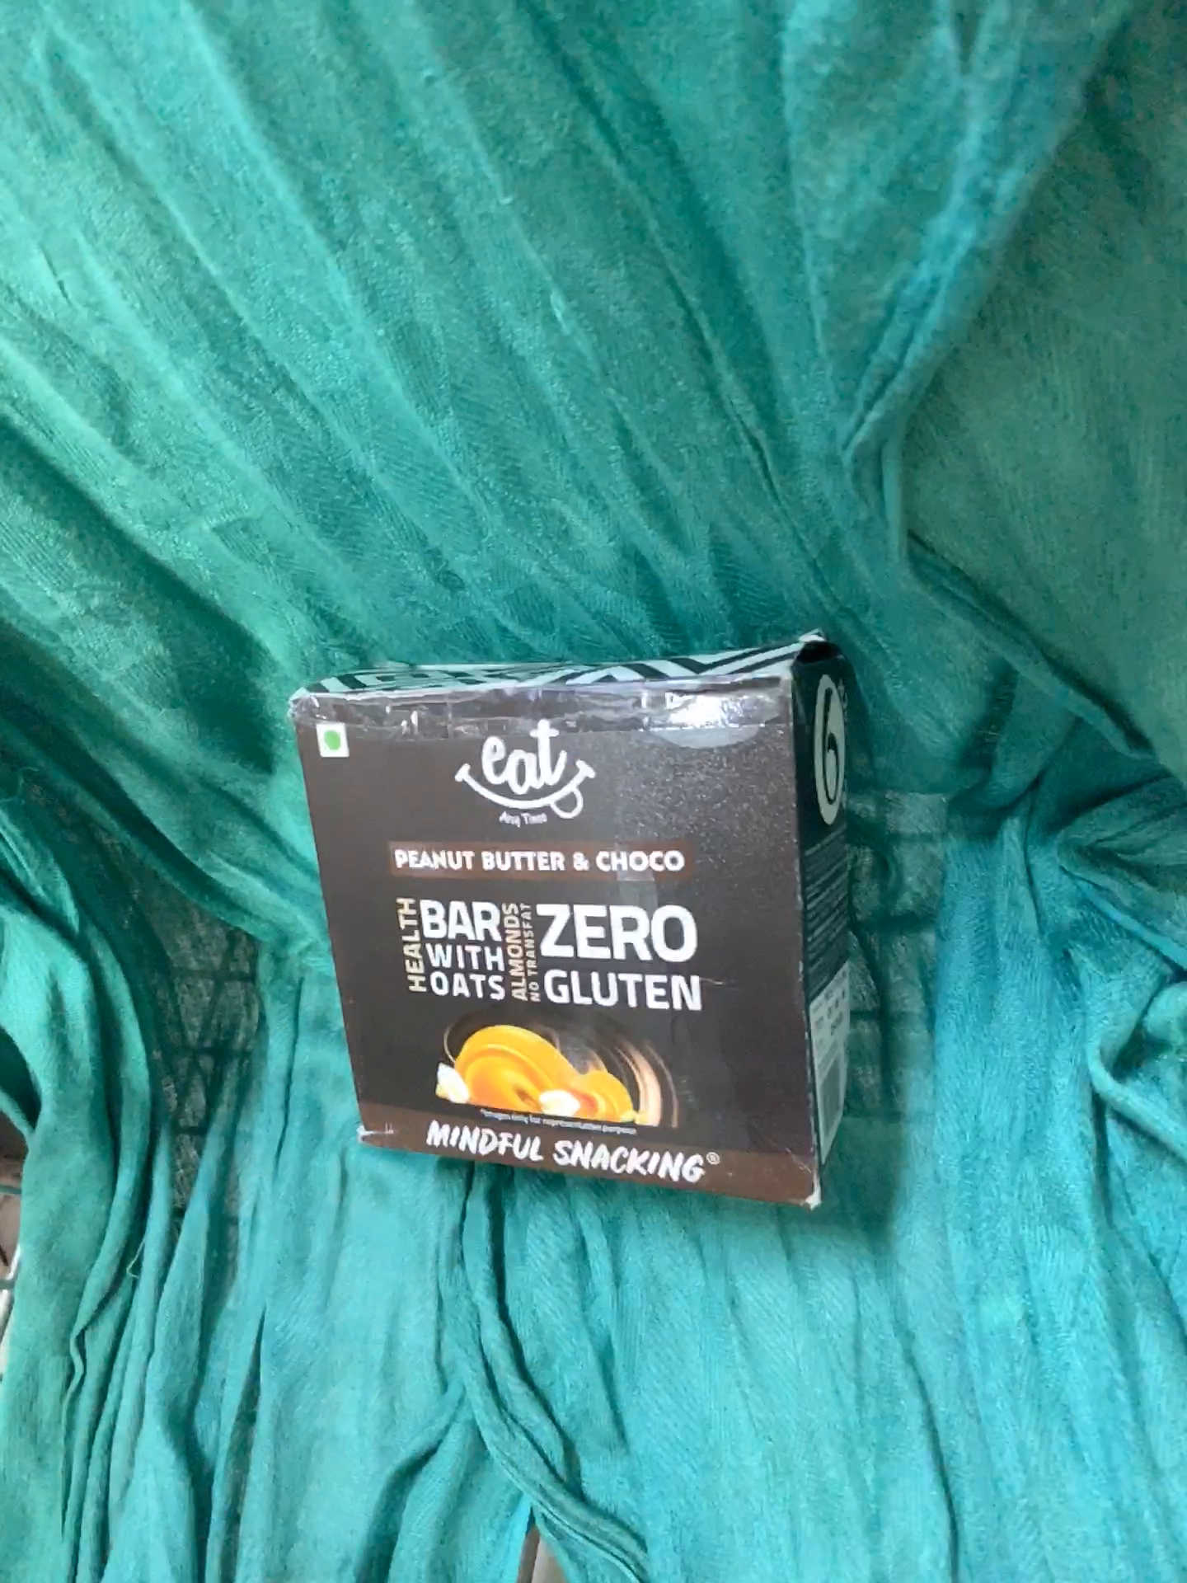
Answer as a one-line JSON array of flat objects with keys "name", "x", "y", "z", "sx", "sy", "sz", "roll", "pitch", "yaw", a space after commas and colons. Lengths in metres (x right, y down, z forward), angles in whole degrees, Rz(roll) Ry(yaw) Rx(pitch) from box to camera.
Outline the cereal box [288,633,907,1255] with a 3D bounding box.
[{"name": "cereal box", "x": 0.006, "y": 0.032, "z": 0.345, "sx": 0.140, "sy": 0.090, "sz": 0.140, "roll": -1, "pitch": 99, "yaw": 25}]
